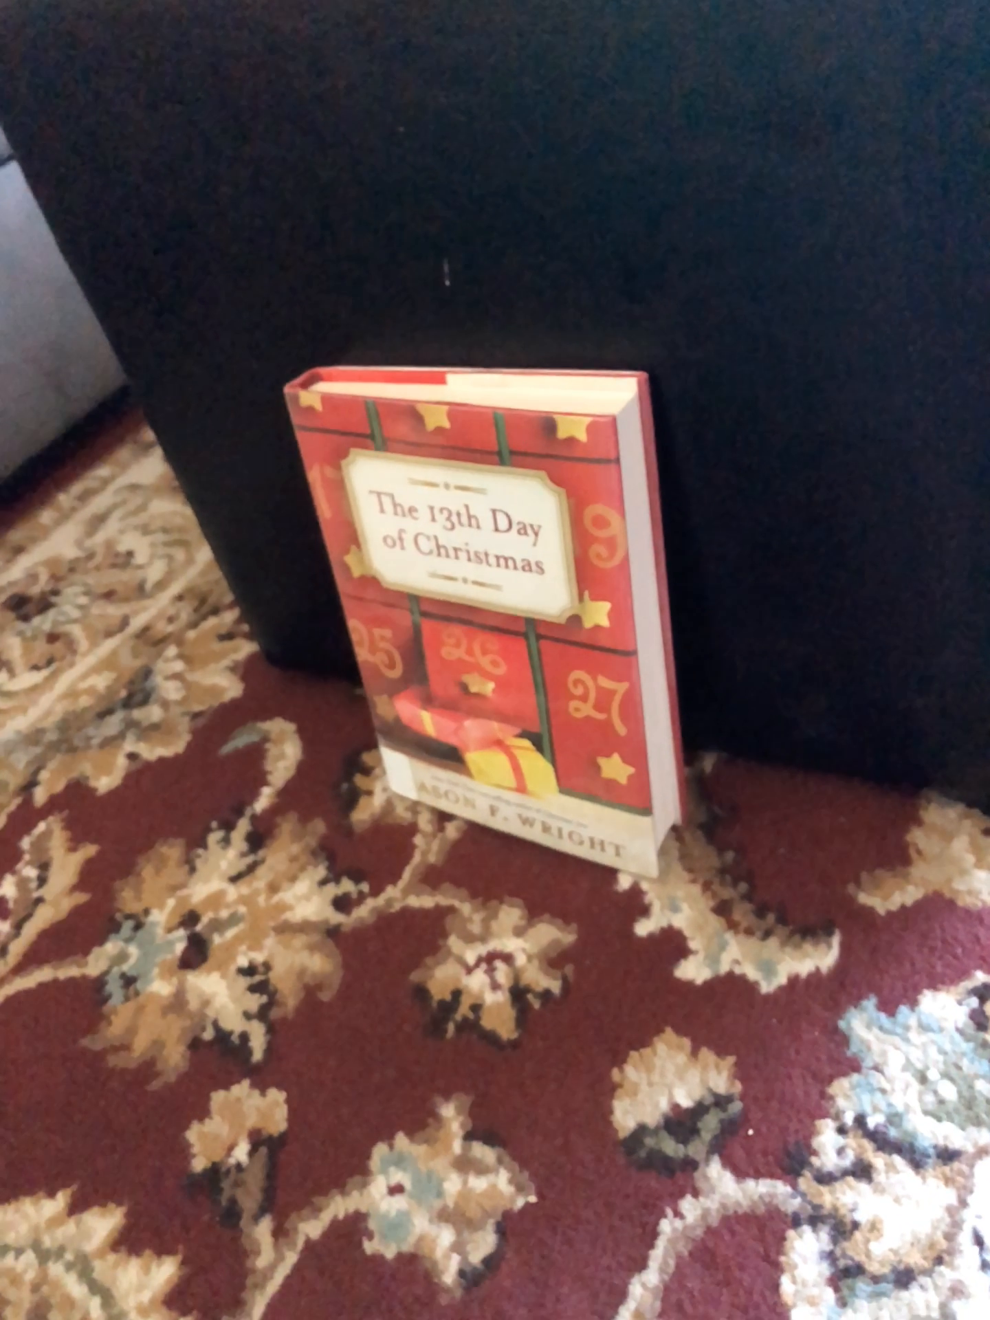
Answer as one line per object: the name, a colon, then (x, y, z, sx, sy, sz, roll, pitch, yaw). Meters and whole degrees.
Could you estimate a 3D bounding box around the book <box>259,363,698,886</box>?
book: (0.000, -0.013, 0.424, 0.138, 0.190, 0.040, 10, 37, 29)
